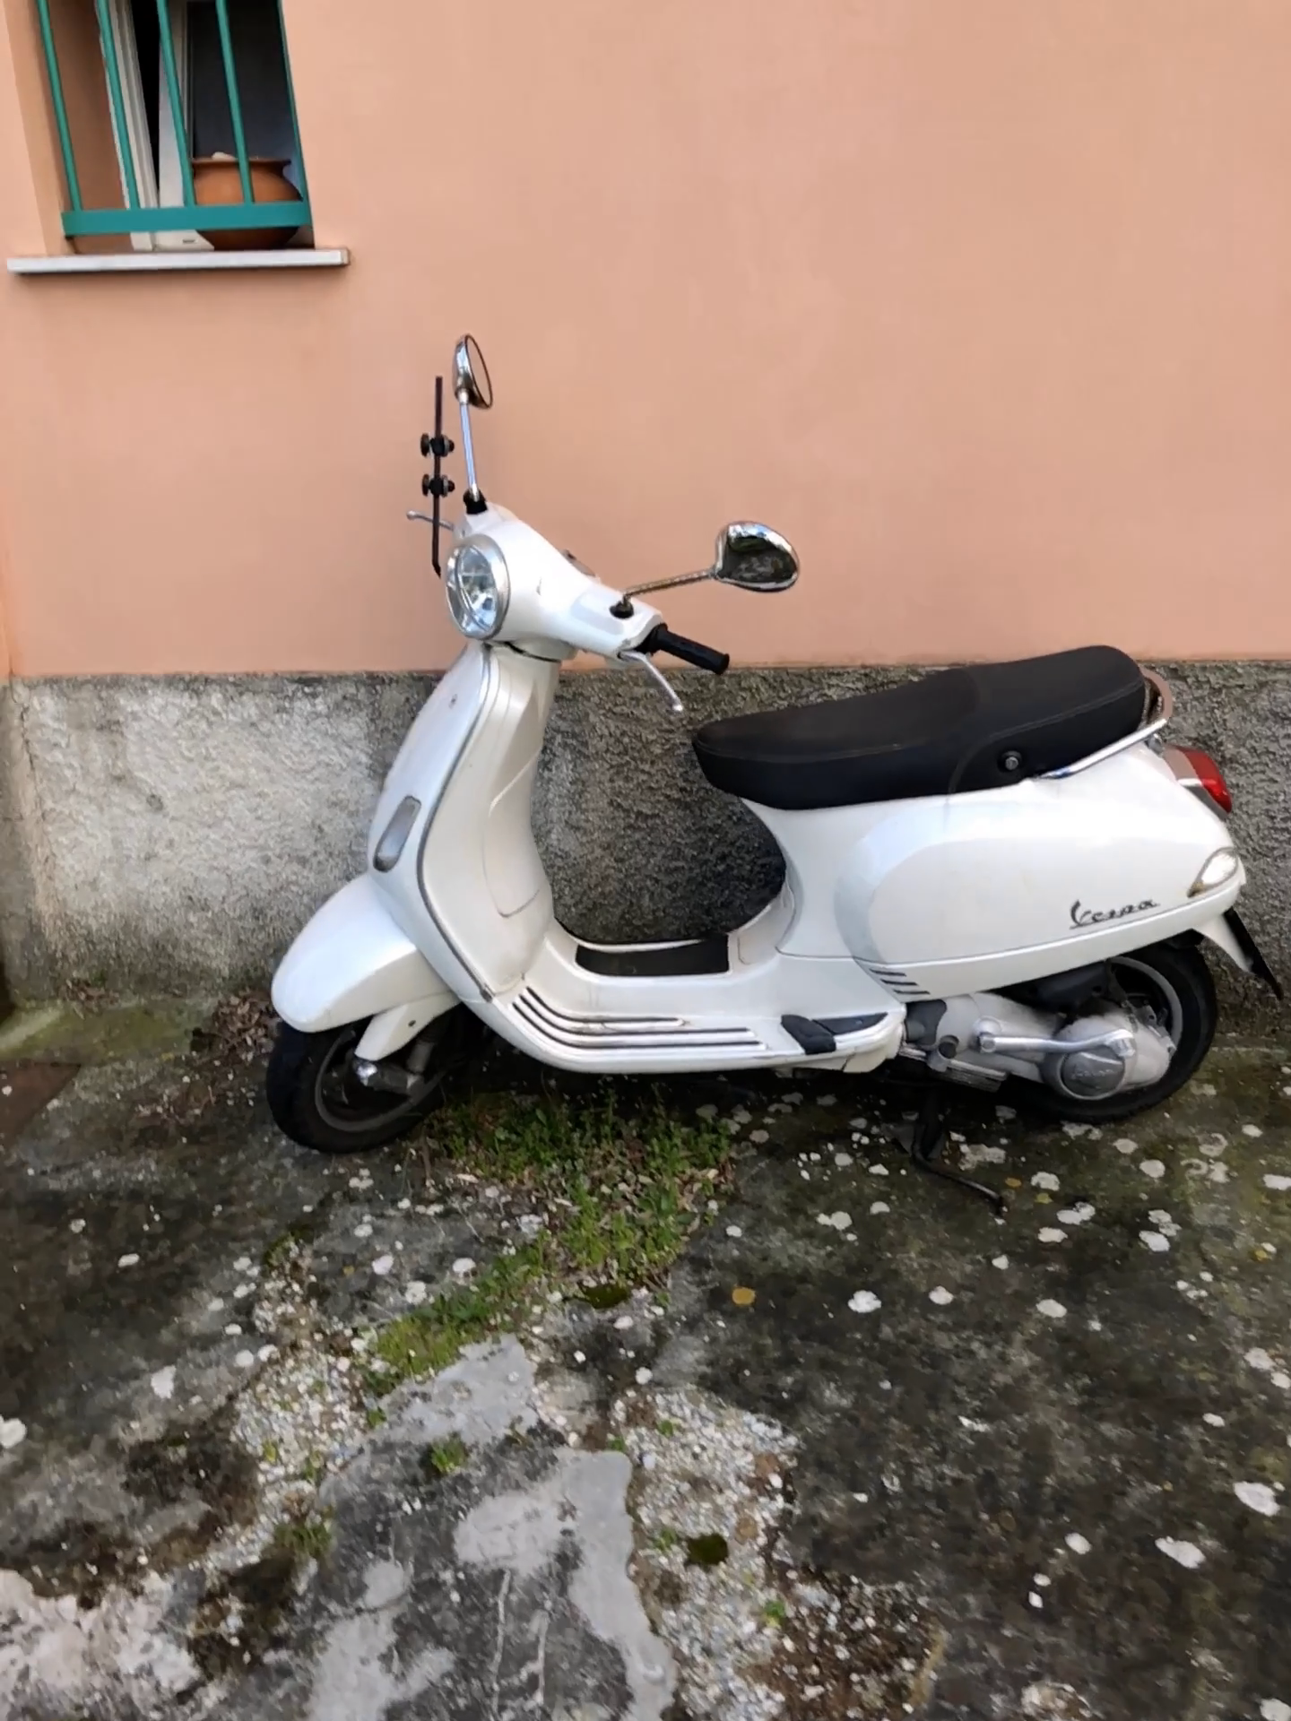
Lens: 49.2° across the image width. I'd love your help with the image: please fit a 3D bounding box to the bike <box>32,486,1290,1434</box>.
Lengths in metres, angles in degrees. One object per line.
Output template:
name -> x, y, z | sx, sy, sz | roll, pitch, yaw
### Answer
bike -> 0.149, 0.113, 2.149 | 1.657, 1.085, 0.647 | -4, 21, 0
